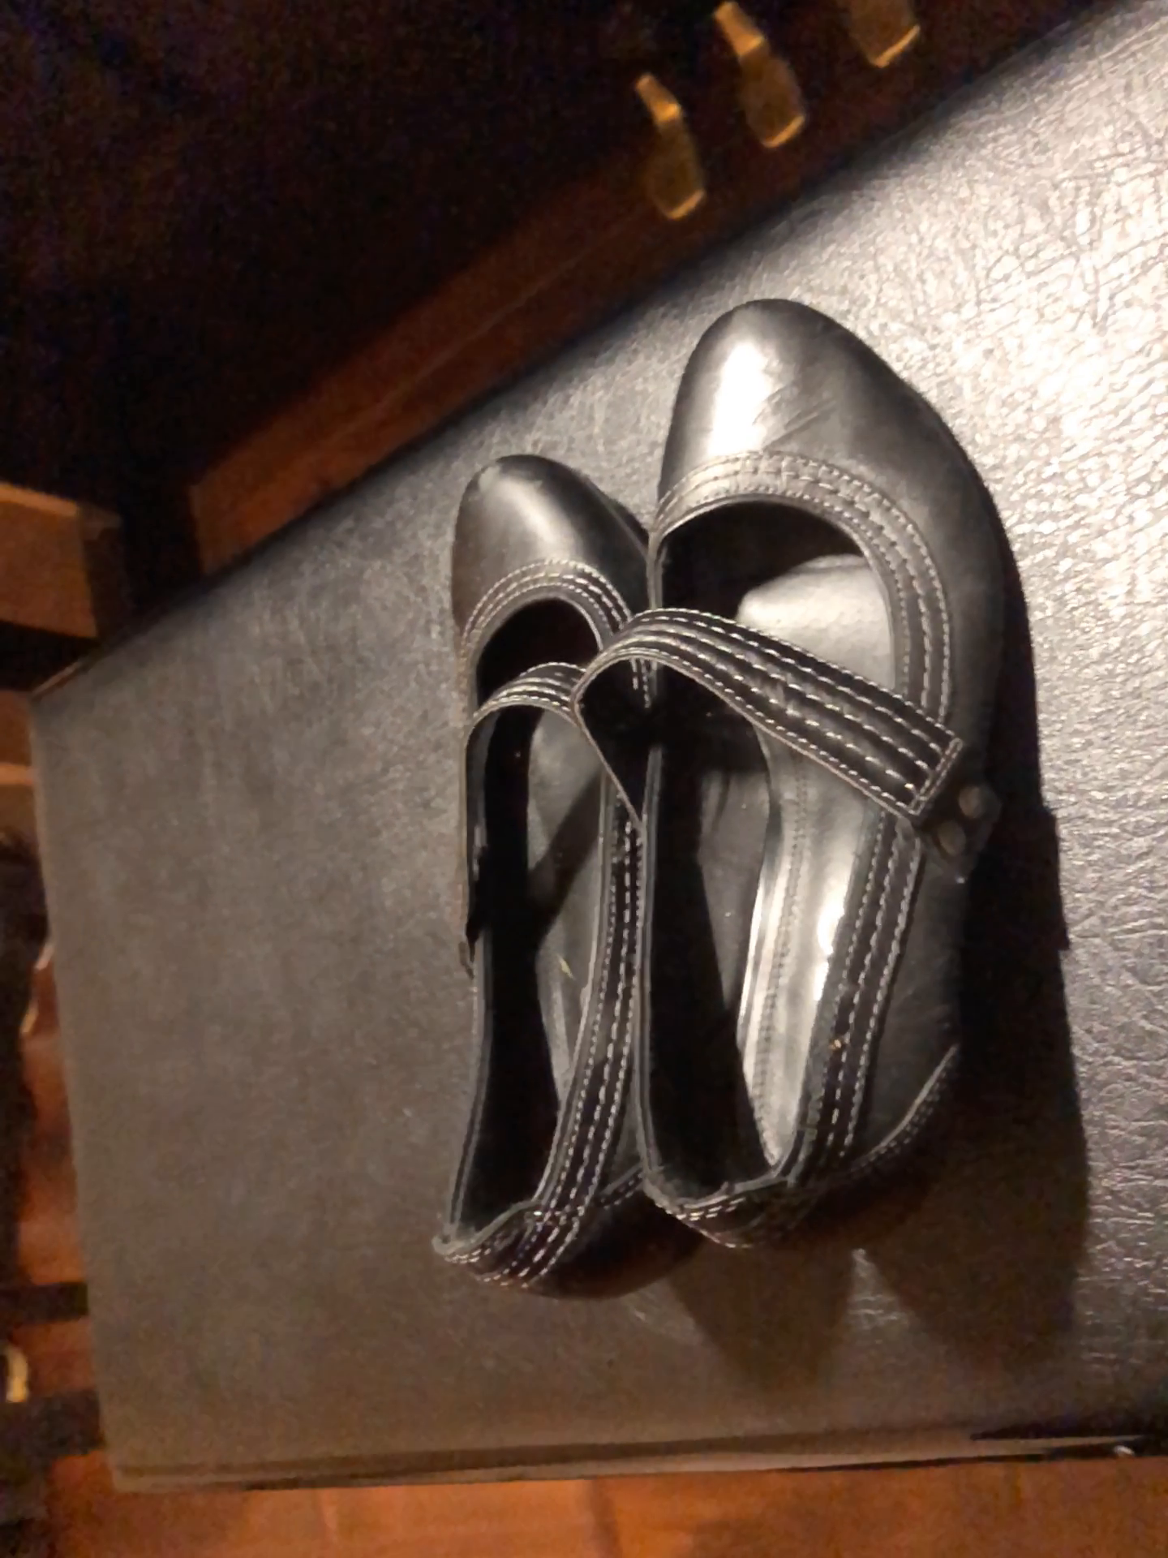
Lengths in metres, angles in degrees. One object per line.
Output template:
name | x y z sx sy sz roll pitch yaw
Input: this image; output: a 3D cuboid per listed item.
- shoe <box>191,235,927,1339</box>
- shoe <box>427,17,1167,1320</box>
shoe | -0.012 0.004 0.347 0.100 0.109 0.240 -25 70 33
shoe | 0.048 -0.017 0.301 0.100 0.109 0.240 -14 76 36
